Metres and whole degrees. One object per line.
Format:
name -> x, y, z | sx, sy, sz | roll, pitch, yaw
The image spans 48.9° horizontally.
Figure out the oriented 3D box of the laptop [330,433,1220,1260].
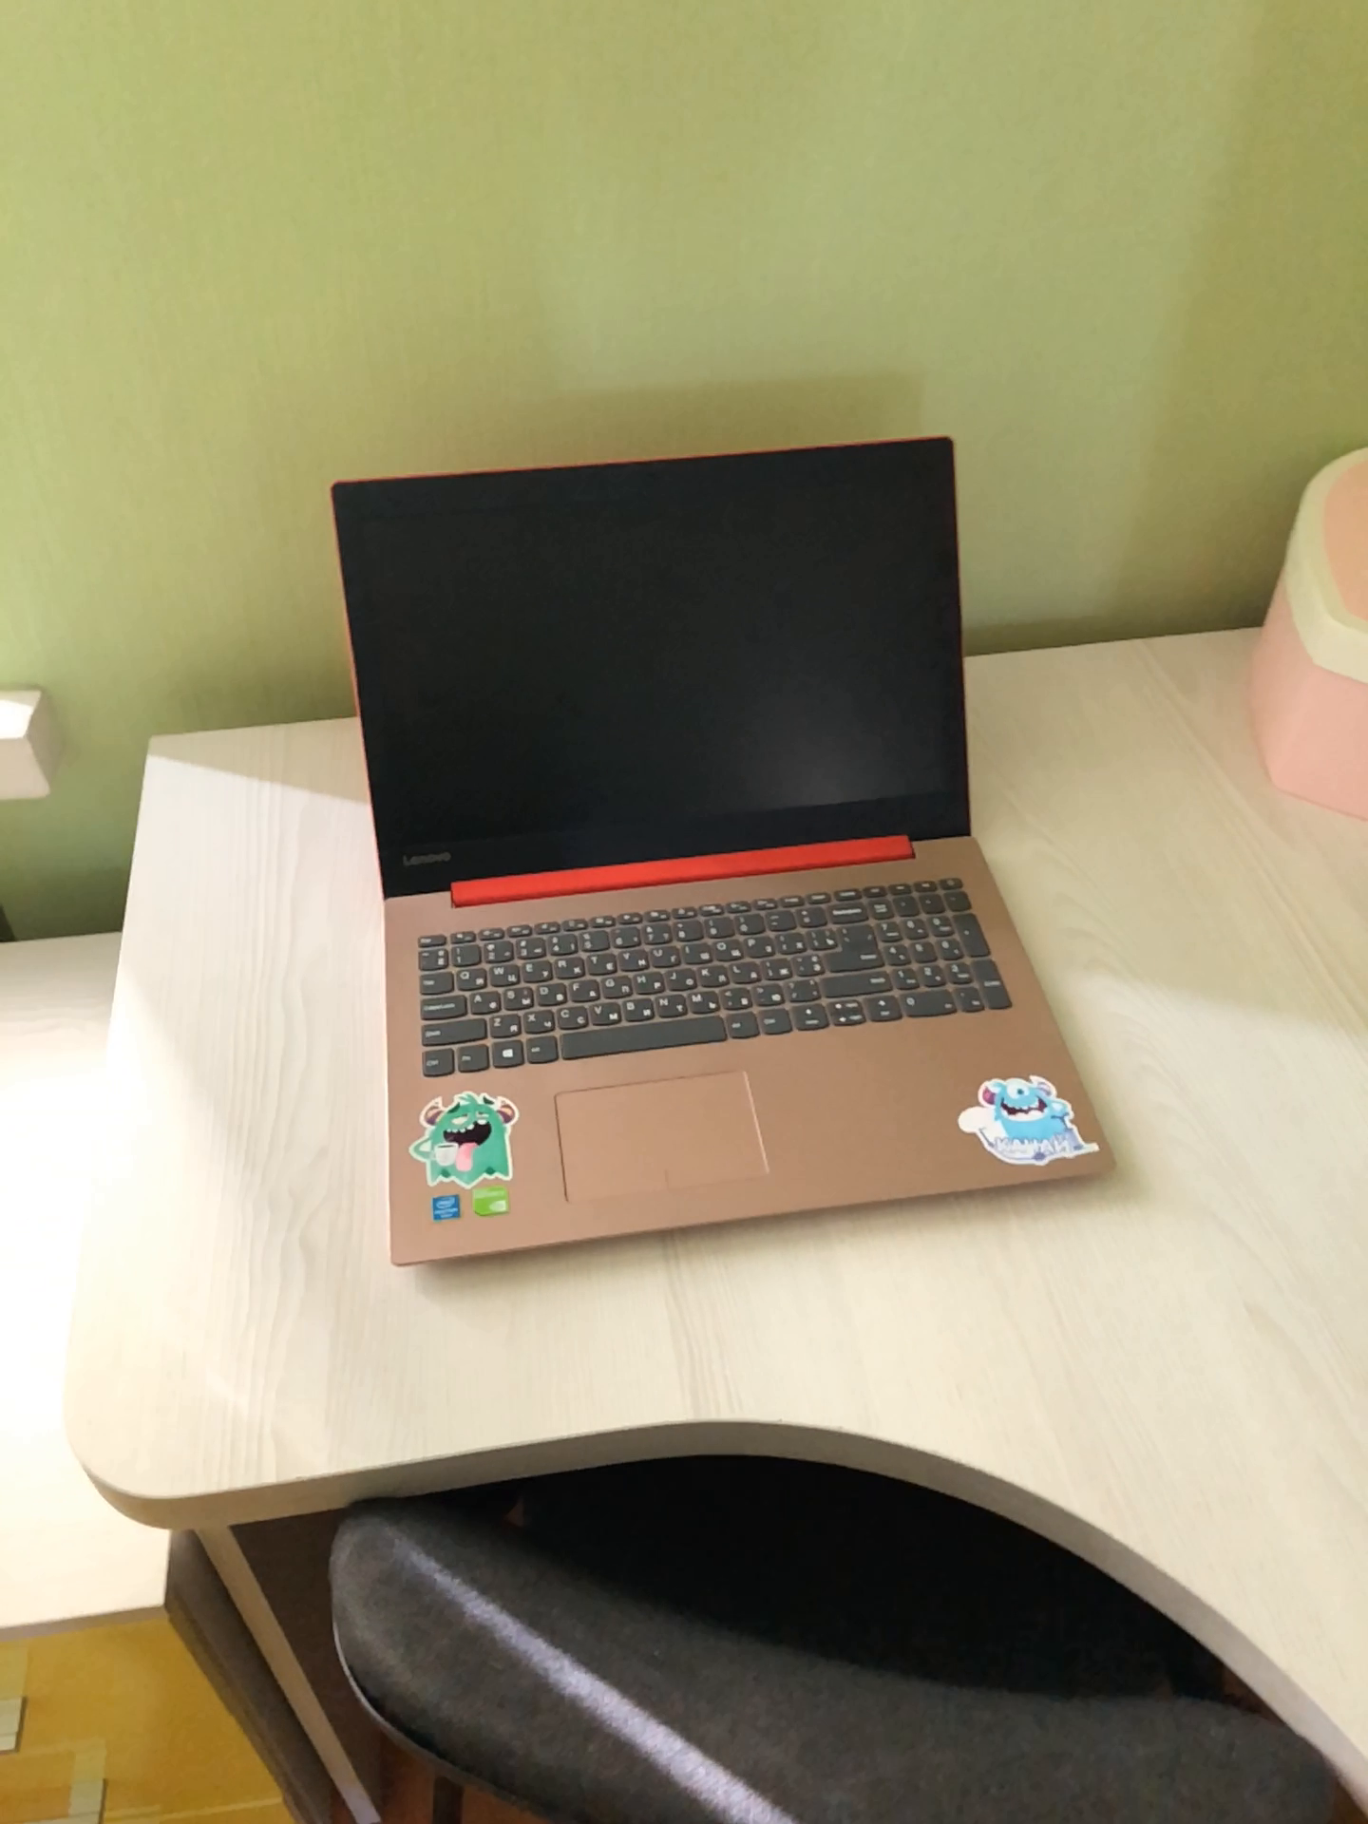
laptop -> 0.010, -0.061, 0.831 | 0.375, 0.198, 0.403 | -6, 46, -7
